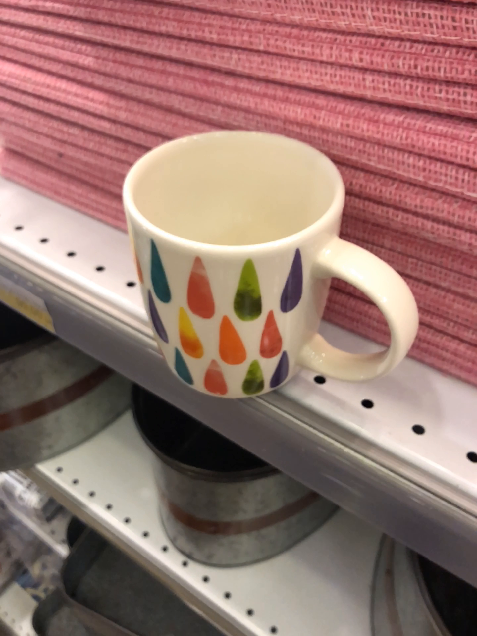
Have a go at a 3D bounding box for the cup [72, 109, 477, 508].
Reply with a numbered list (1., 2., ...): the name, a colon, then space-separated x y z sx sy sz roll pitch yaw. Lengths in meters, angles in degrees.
1. cup: 0.019 -0.012 0.225 0.130 0.089 0.091 25 49 24
